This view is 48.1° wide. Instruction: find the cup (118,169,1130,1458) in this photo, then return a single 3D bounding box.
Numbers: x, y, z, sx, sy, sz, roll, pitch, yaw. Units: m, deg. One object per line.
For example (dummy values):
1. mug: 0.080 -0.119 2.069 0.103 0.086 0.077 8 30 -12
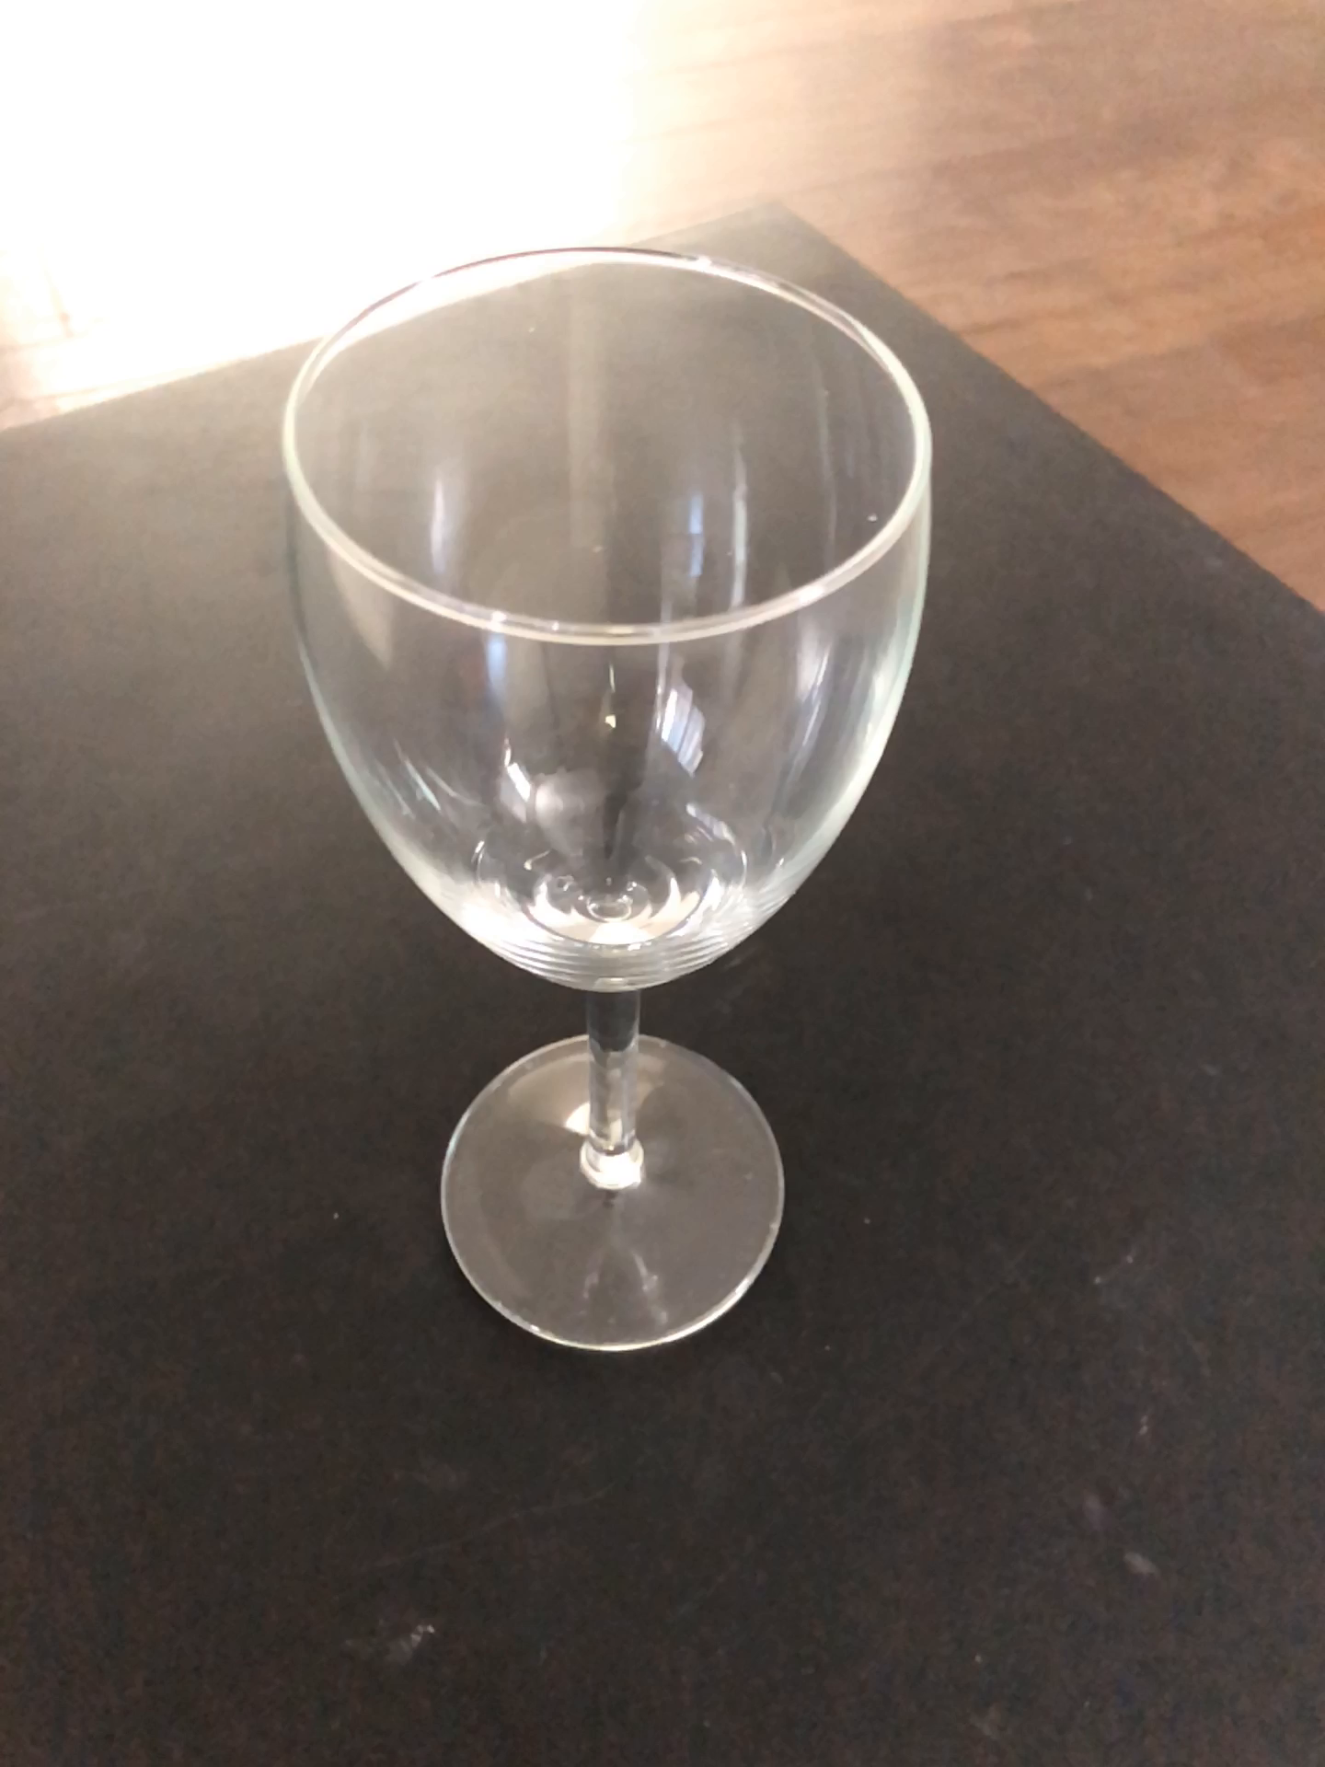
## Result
1. cup: -0.006 0.003 0.235 0.080 0.179 0.080 1 51 -1
